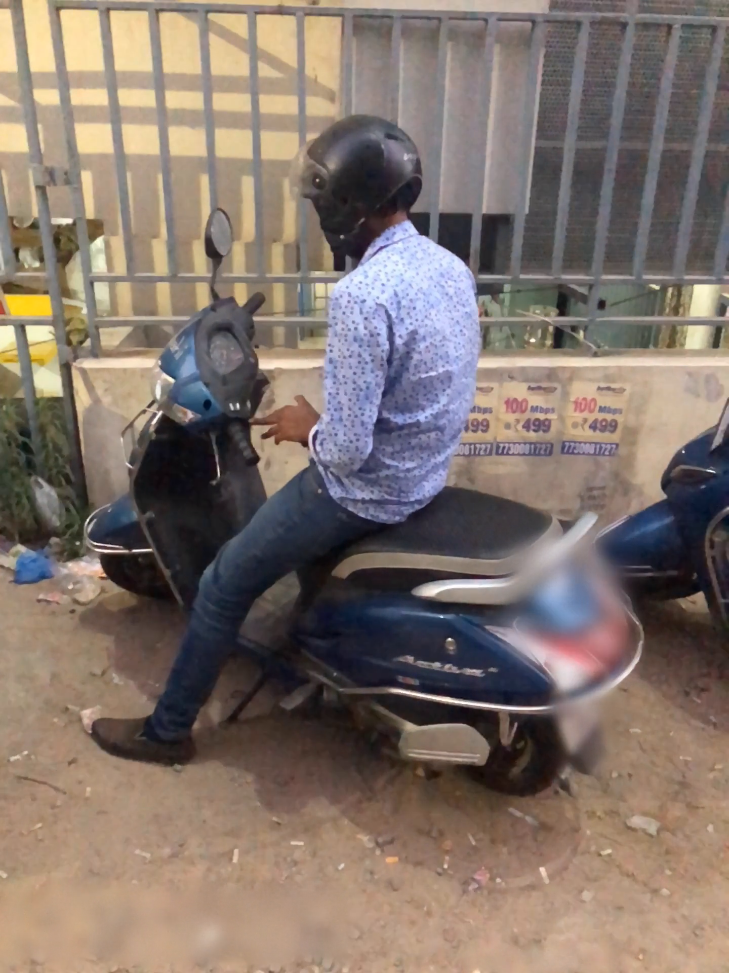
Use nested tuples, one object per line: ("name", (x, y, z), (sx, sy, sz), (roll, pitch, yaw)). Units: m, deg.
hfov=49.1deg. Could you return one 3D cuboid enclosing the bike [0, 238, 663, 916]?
("bike", (-0.163, 0.114, 2.037), (1.470, 1.131, 0.619), (16, 28, 23))
